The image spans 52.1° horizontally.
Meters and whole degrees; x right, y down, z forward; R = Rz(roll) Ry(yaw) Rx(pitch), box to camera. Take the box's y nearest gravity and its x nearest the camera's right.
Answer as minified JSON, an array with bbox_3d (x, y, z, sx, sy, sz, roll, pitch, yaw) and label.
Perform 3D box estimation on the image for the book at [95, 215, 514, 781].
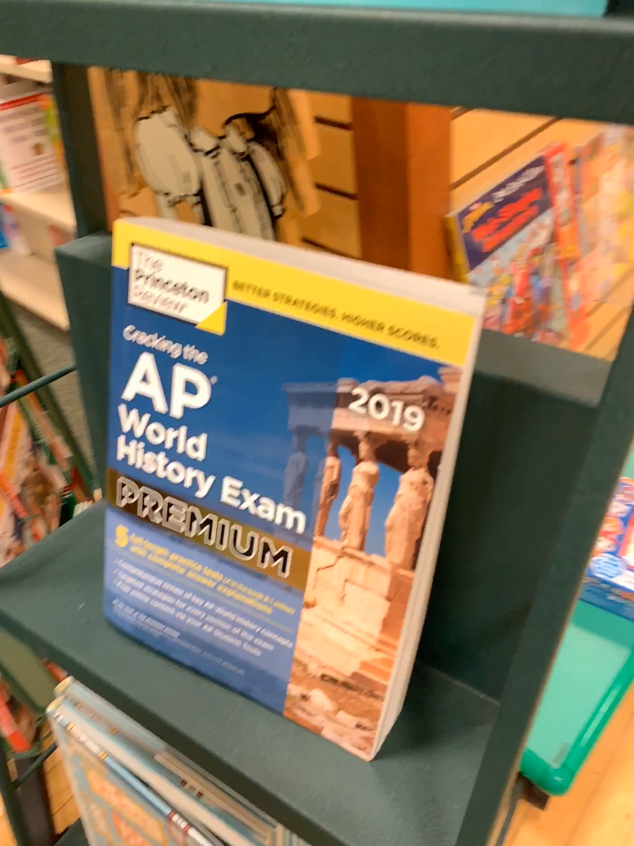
[{"bbox_3d":[-0.030,0.035,0.378,0.215,0.269,0.057,18,24,25],"label":"book"}]
